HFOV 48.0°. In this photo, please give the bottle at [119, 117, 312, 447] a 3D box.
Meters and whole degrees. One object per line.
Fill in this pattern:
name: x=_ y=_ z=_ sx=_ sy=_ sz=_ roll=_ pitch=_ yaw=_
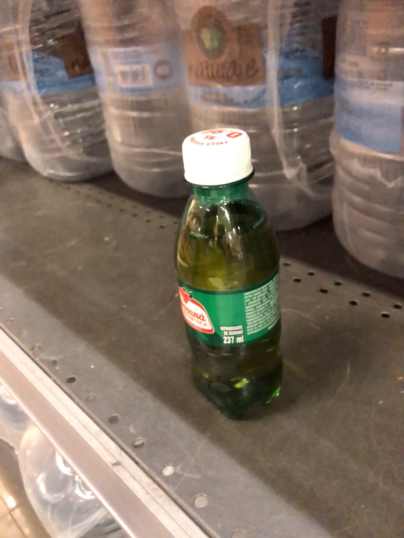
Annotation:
bottle: x=0.014 y=0.008 z=0.236 sx=0.060 sy=0.149 sz=0.060 roll=-6 pitch=32 yaw=4
